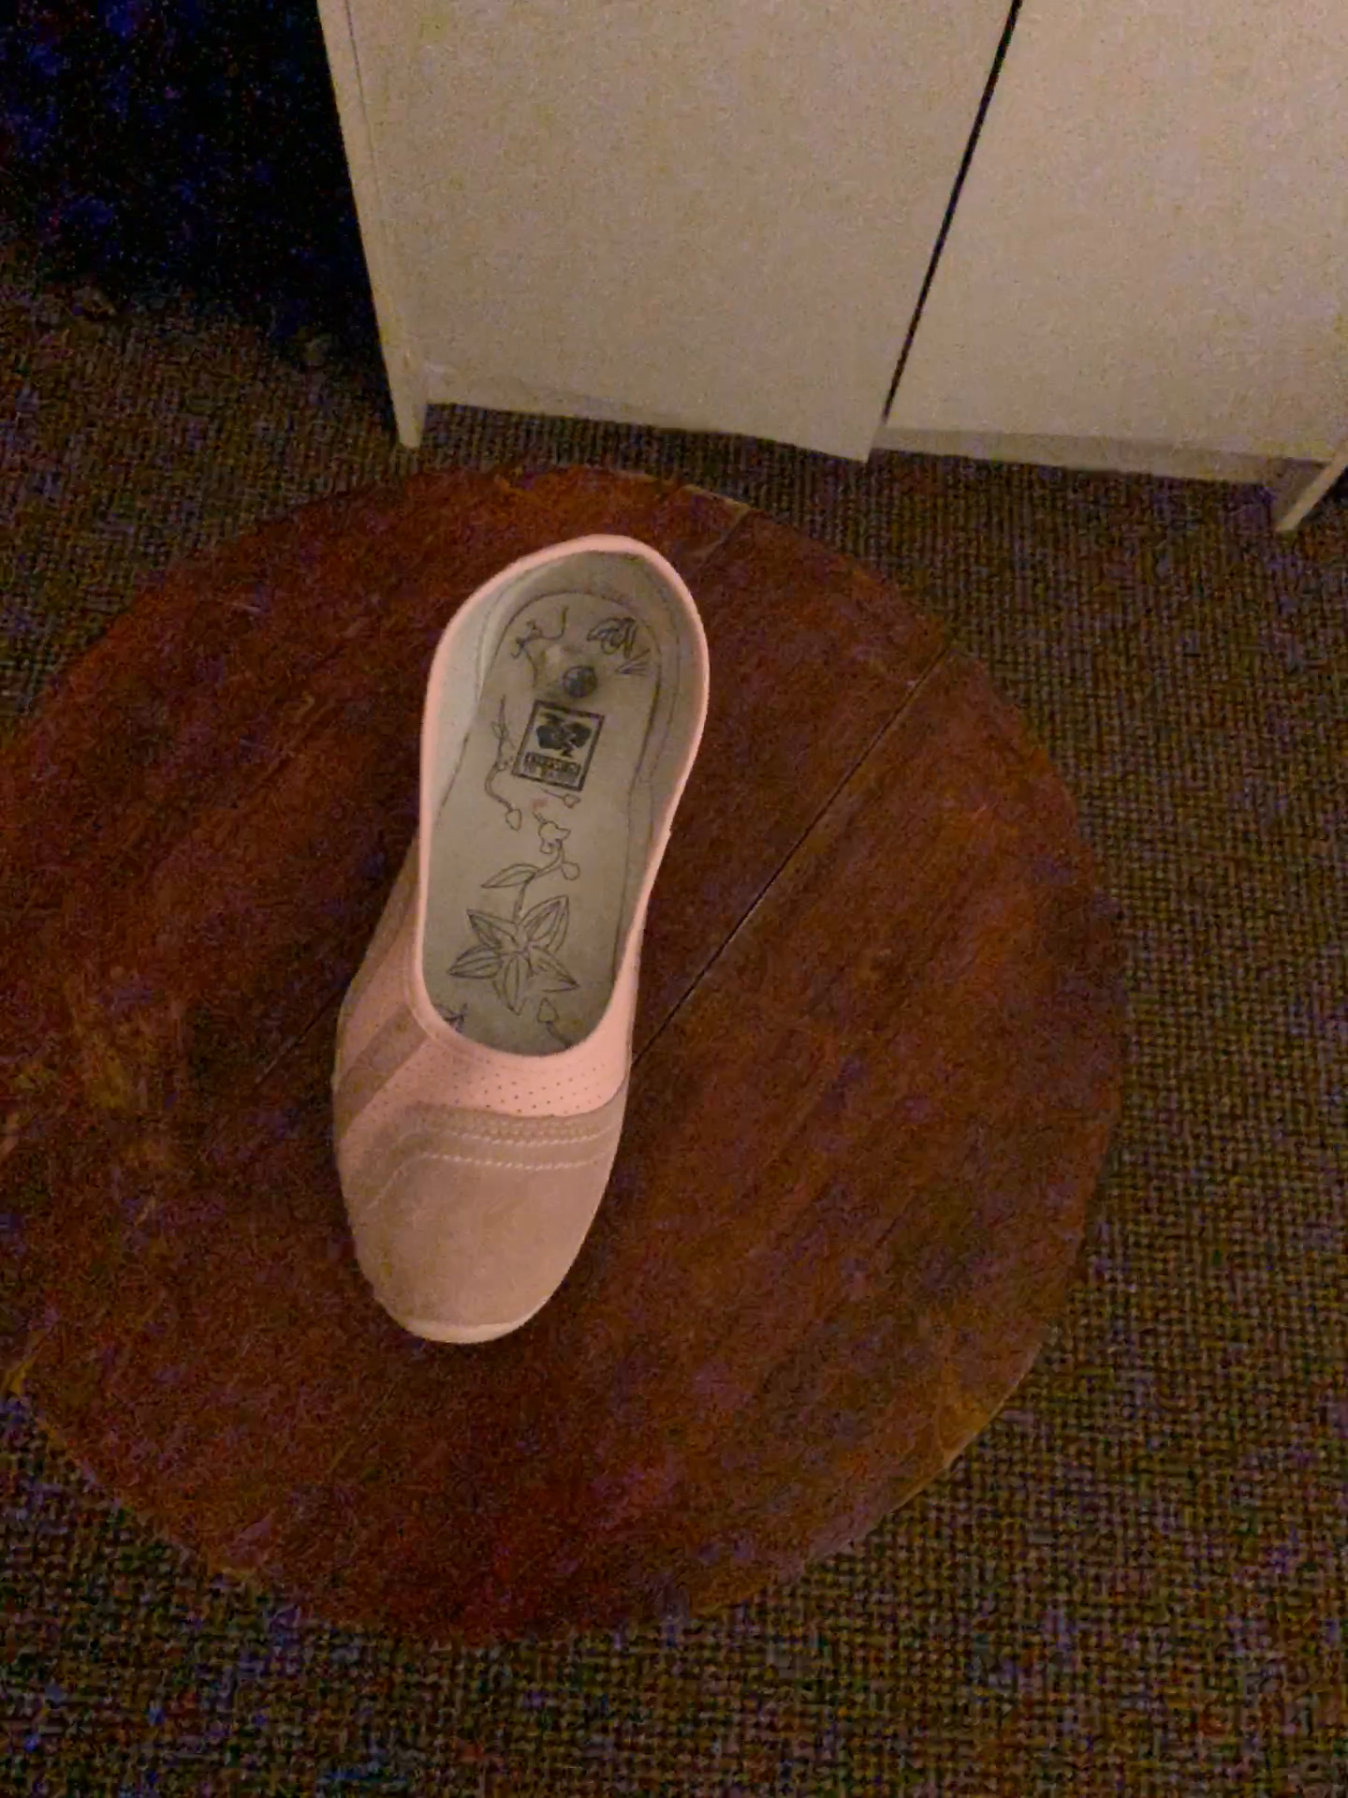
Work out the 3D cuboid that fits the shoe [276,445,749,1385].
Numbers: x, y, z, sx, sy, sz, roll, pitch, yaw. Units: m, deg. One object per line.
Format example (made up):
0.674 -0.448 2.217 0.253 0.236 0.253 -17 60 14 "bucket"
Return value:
-0.039 0.000 0.422 0.090 0.070 0.271 8 69 -1 "shoe"
